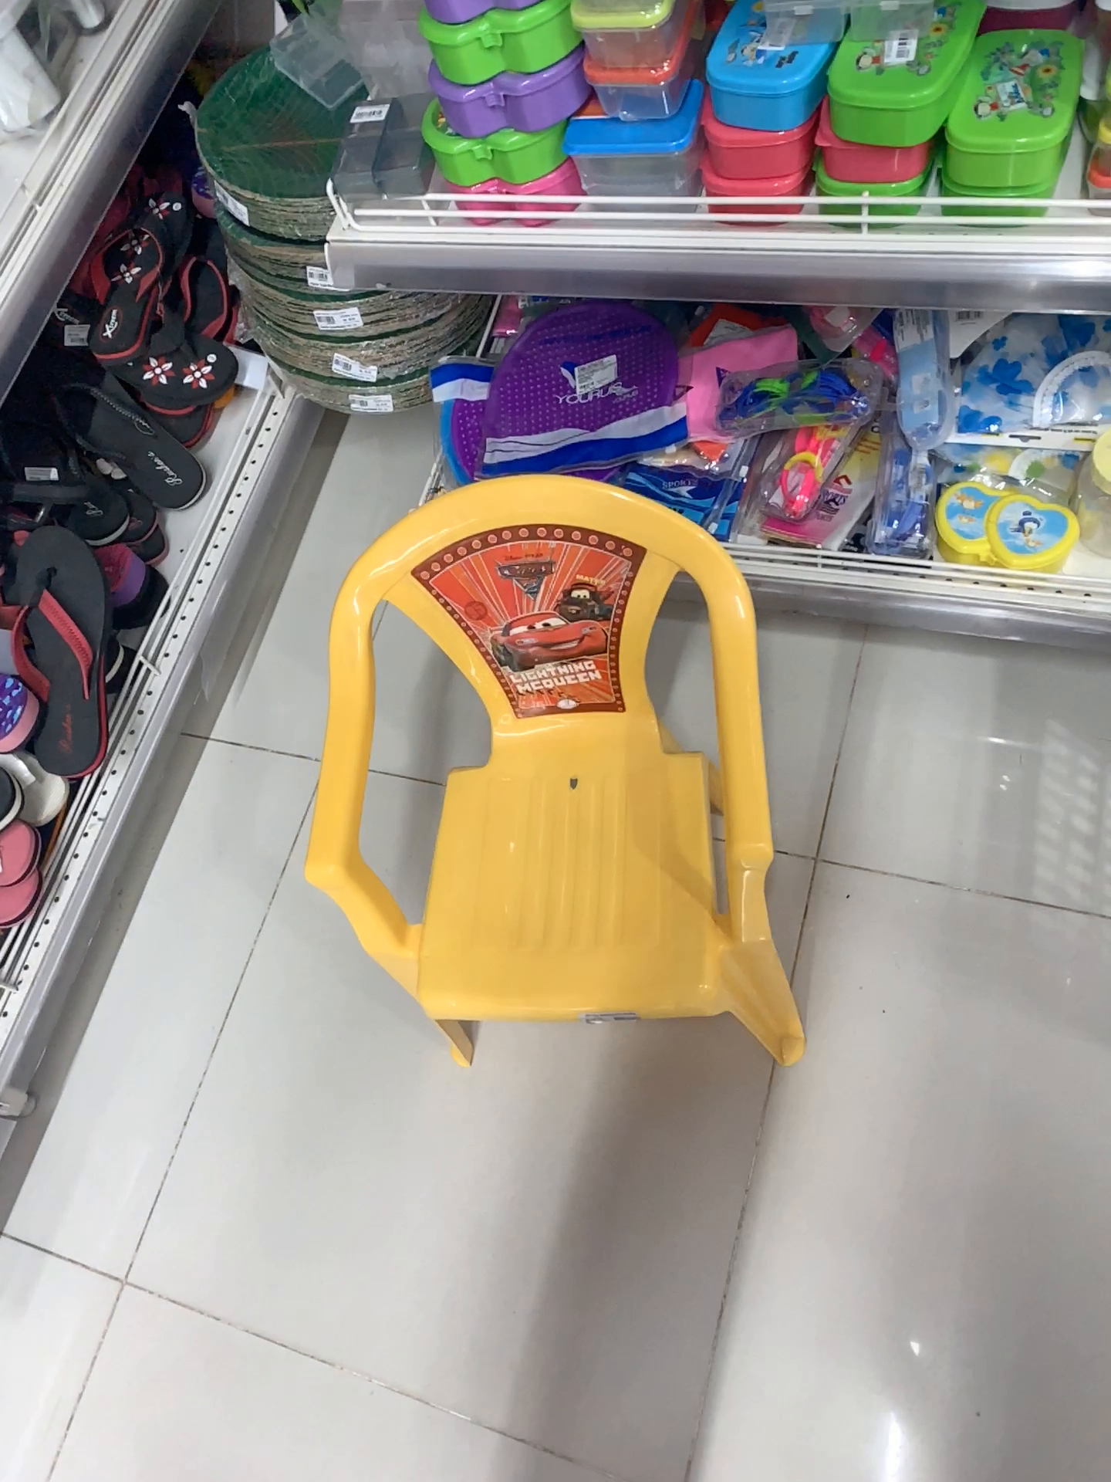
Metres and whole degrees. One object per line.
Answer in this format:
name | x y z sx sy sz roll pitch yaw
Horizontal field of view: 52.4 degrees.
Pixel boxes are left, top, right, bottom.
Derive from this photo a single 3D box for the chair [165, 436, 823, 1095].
chair | 0.009 0.075 0.963 0.391 0.499 0.370 -4 65 14
